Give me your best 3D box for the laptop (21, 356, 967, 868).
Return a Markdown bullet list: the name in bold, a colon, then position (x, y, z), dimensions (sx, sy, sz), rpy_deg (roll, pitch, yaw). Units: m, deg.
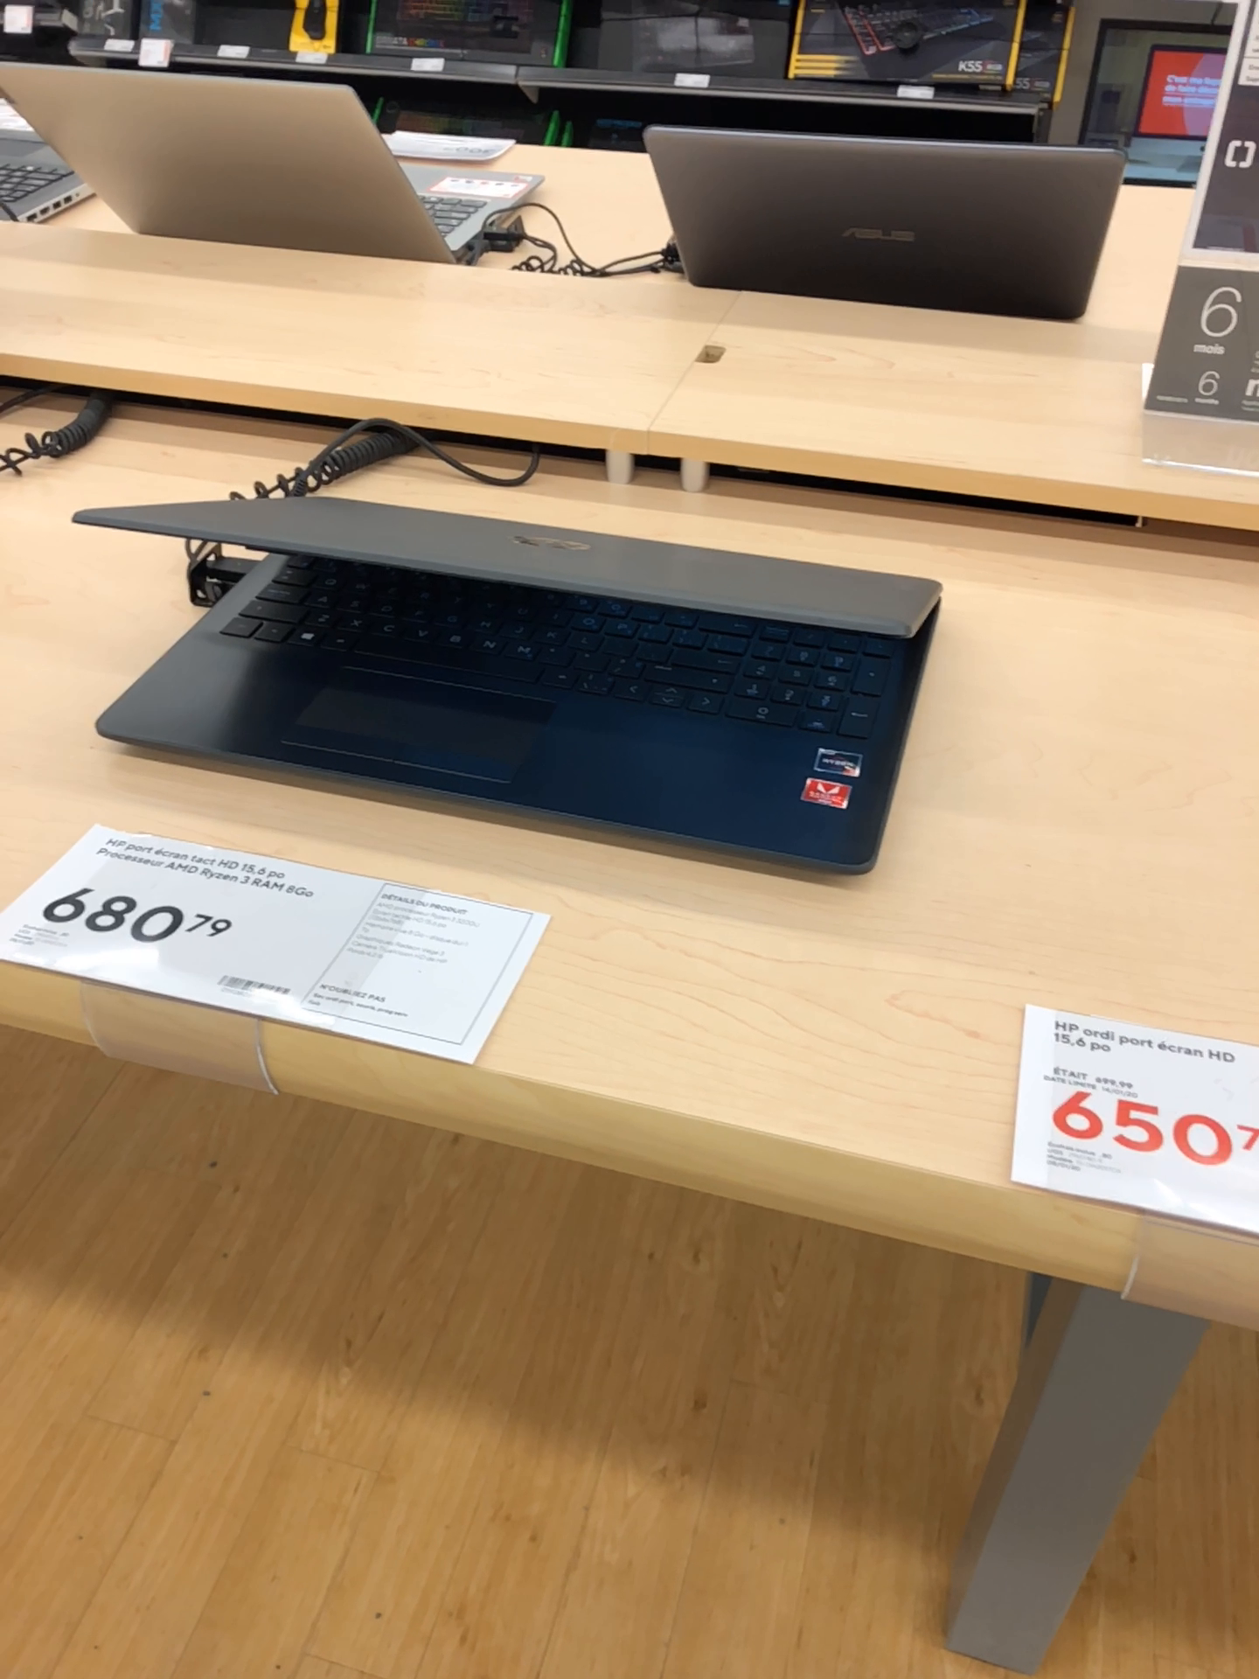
- **laptop**: position (-0.043, -0.127, 0.667), dimensions (0.366, 0.090, 0.243), rpy_deg (10, 41, 12)
